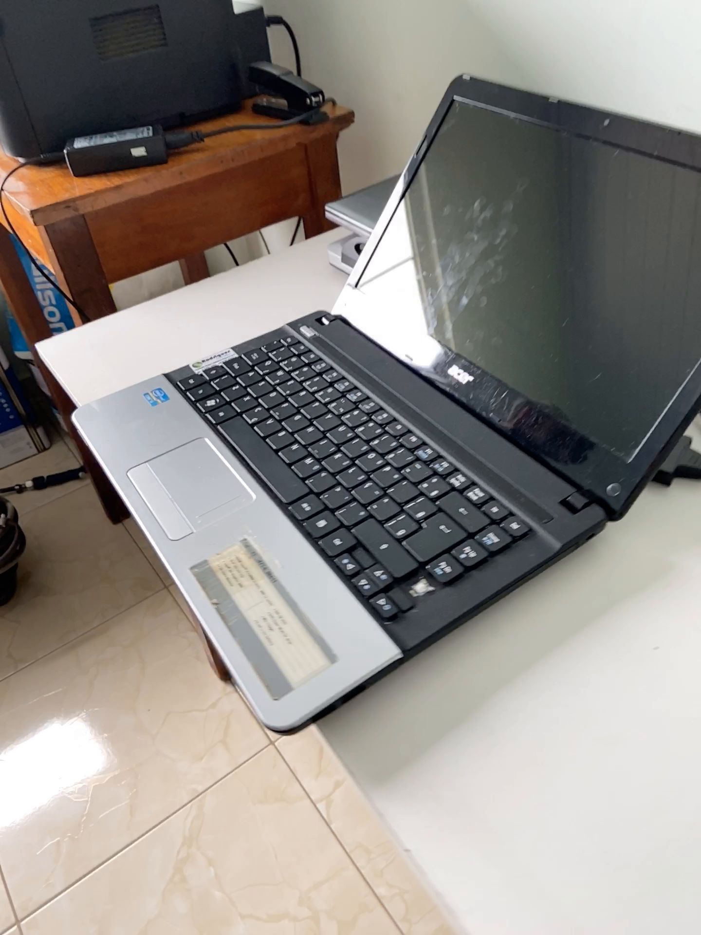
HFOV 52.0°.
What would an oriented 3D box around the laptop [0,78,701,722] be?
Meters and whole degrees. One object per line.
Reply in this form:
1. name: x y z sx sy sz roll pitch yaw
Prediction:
1. laptop: 0.027 -0.103 0.491 0.396 0.162 0.333 -27 46 -21
